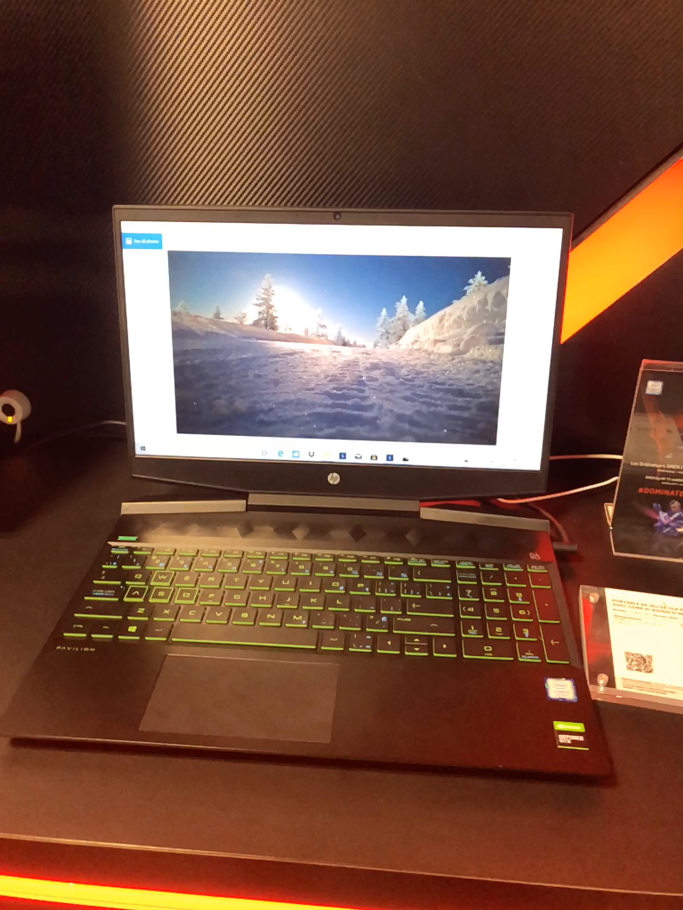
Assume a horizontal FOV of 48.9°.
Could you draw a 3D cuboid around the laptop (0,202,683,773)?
[{"bbox_3d":[-0.013,-0.016,0.515,0.355,0.240,0.316,2,28,5],"label":"laptop"}]
